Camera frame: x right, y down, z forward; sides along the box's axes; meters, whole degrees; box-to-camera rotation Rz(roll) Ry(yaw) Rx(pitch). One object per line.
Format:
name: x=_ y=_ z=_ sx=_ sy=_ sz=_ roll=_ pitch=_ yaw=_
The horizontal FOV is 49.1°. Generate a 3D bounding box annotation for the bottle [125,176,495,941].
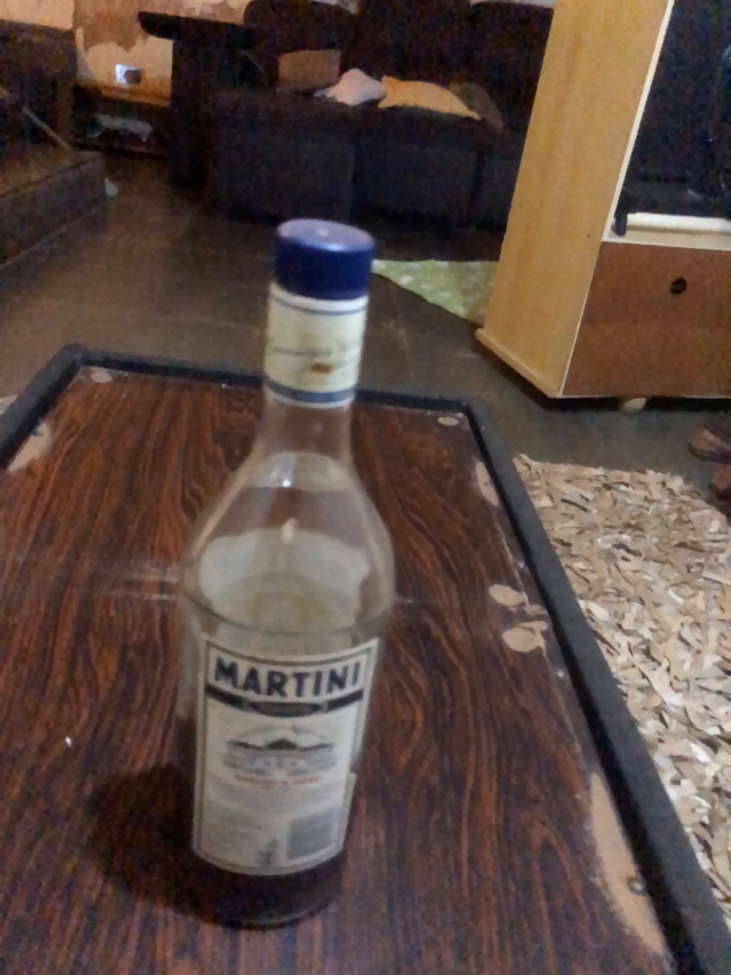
bottle: x=-0.033 y=0.043 z=0.328 sx=0.100 sy=0.298 sz=0.091 roll=8 pitch=27 yaw=-2
